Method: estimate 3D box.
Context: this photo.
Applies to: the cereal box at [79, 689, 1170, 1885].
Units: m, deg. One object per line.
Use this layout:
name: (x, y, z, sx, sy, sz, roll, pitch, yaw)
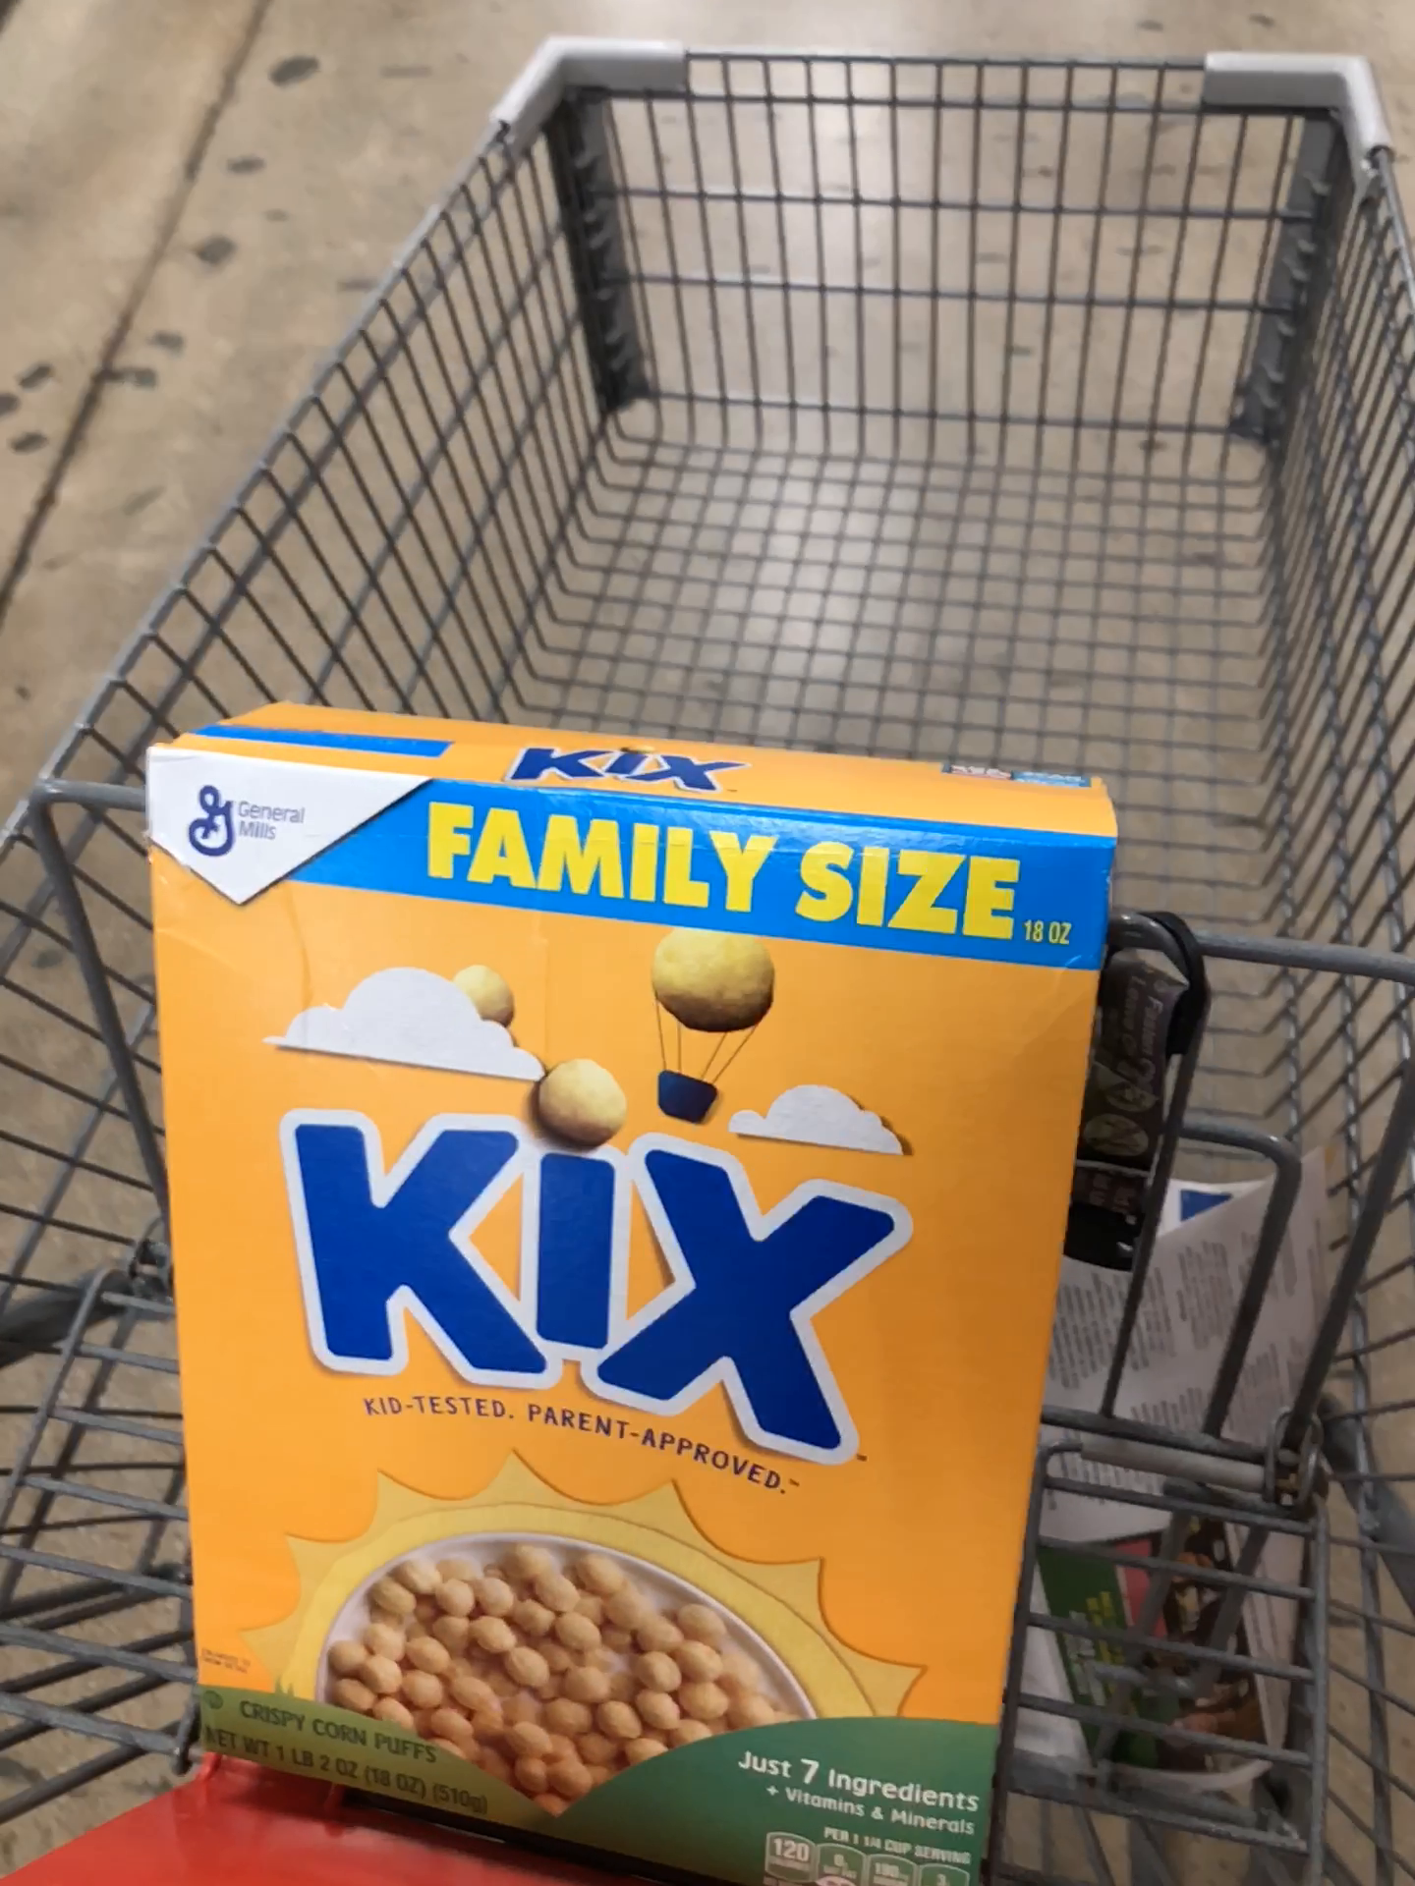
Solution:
cereal box: (-0.029, 0.104, 0.441, 0.260, 0.320, 0.070, 7, 18, 11)
